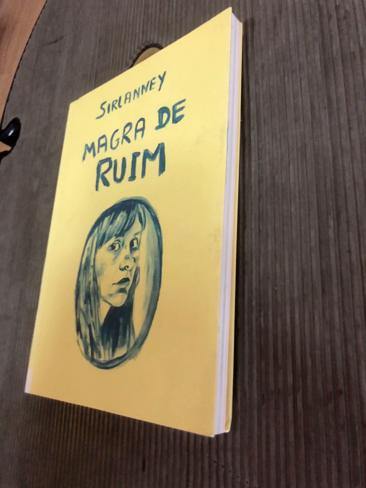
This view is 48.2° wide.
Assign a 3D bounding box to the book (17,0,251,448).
[{"bbox_3d":[-0.033,-0.015,0.235,0.151,0.020,0.210,-8,72,41],"label":"book"}]
